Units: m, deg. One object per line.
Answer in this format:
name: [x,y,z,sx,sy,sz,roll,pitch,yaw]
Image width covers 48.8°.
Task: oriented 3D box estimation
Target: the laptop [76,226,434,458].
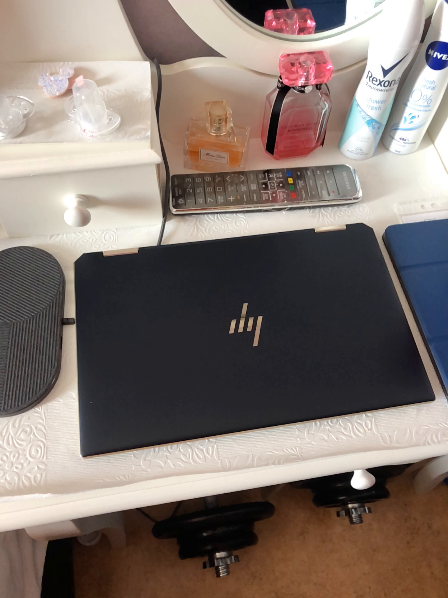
laptop: [0.024,0.021,0.401,0.267,0.007,0.161,-6,65,-13]
